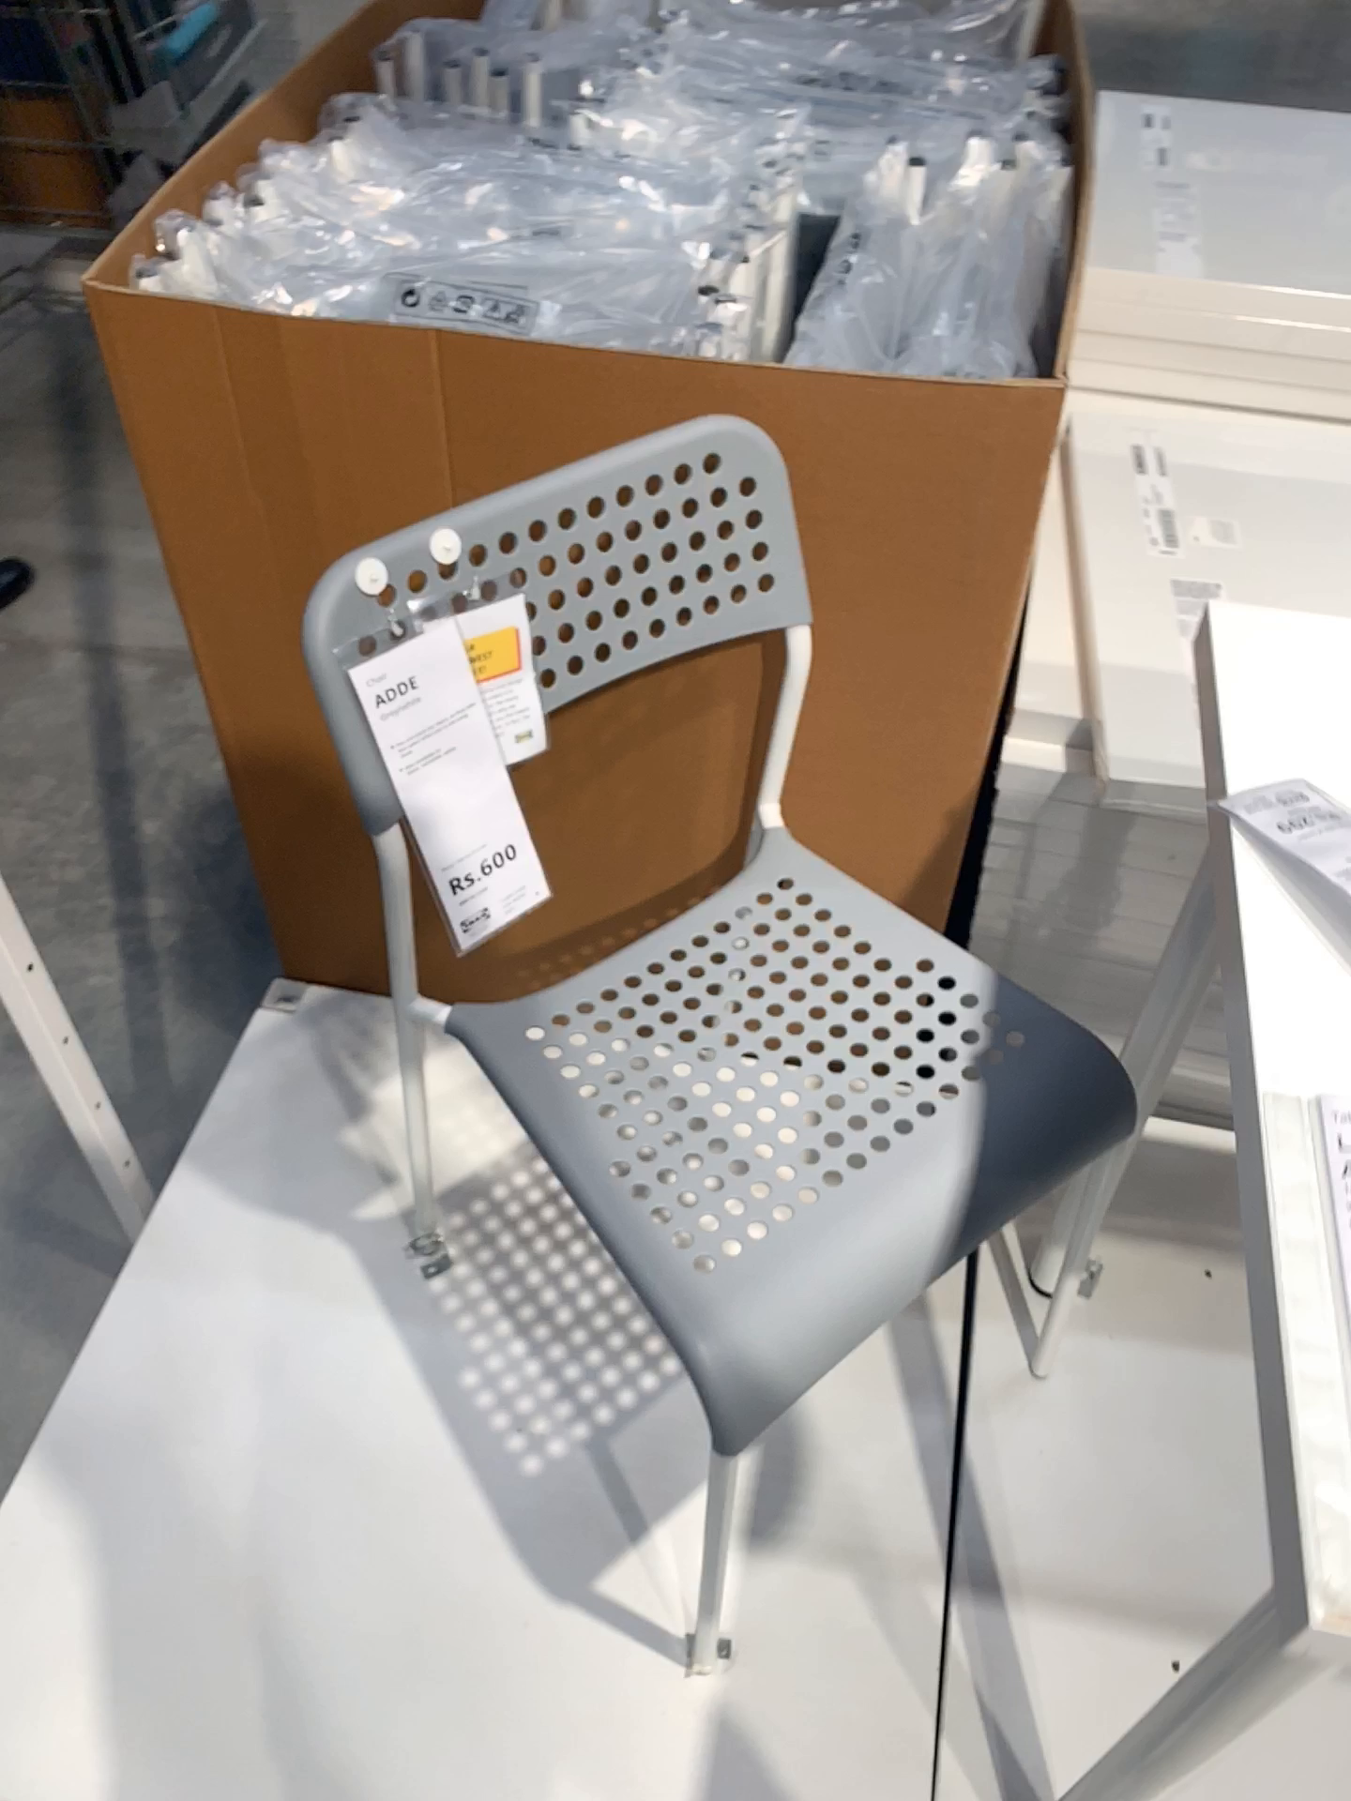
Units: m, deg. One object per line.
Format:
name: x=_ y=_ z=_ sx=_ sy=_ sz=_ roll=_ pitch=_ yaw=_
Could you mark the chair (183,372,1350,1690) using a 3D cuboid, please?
chair: x=0.047 y=0.102 z=1.013 sx=0.461 sy=0.688 sz=0.501 roll=-29 pitch=54 yaw=-26
